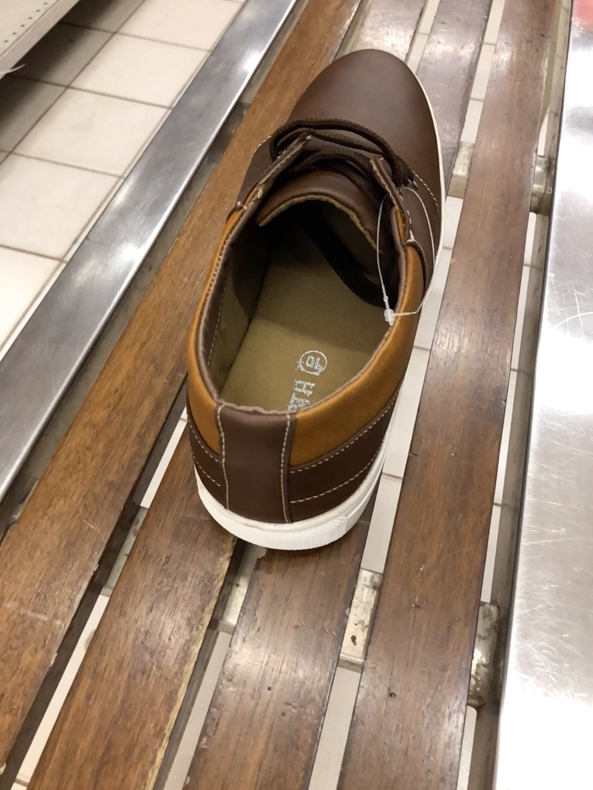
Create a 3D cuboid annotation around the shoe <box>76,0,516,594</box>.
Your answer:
[{"bbox_3d":[0.026,-0.089,0.307,0.109,0.114,0.313,11,56,6],"label":"shoe"}]
